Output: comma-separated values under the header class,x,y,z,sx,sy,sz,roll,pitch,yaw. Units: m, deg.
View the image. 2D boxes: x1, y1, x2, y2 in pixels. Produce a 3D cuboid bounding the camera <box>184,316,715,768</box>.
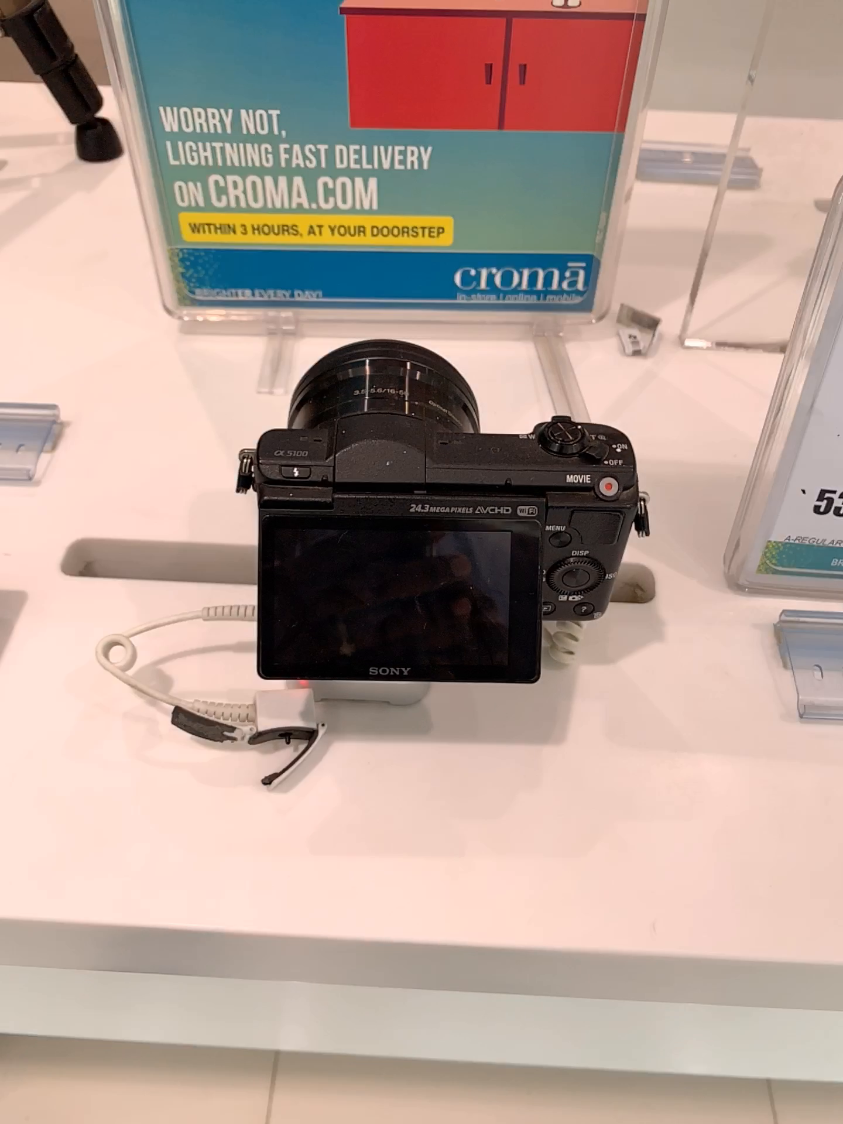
class,x,y,z,sx,sy,sz,roll,pitch,yaw
camera,0.006,-0.006,0.242,0.110,0.082,0.088,2,48,0
